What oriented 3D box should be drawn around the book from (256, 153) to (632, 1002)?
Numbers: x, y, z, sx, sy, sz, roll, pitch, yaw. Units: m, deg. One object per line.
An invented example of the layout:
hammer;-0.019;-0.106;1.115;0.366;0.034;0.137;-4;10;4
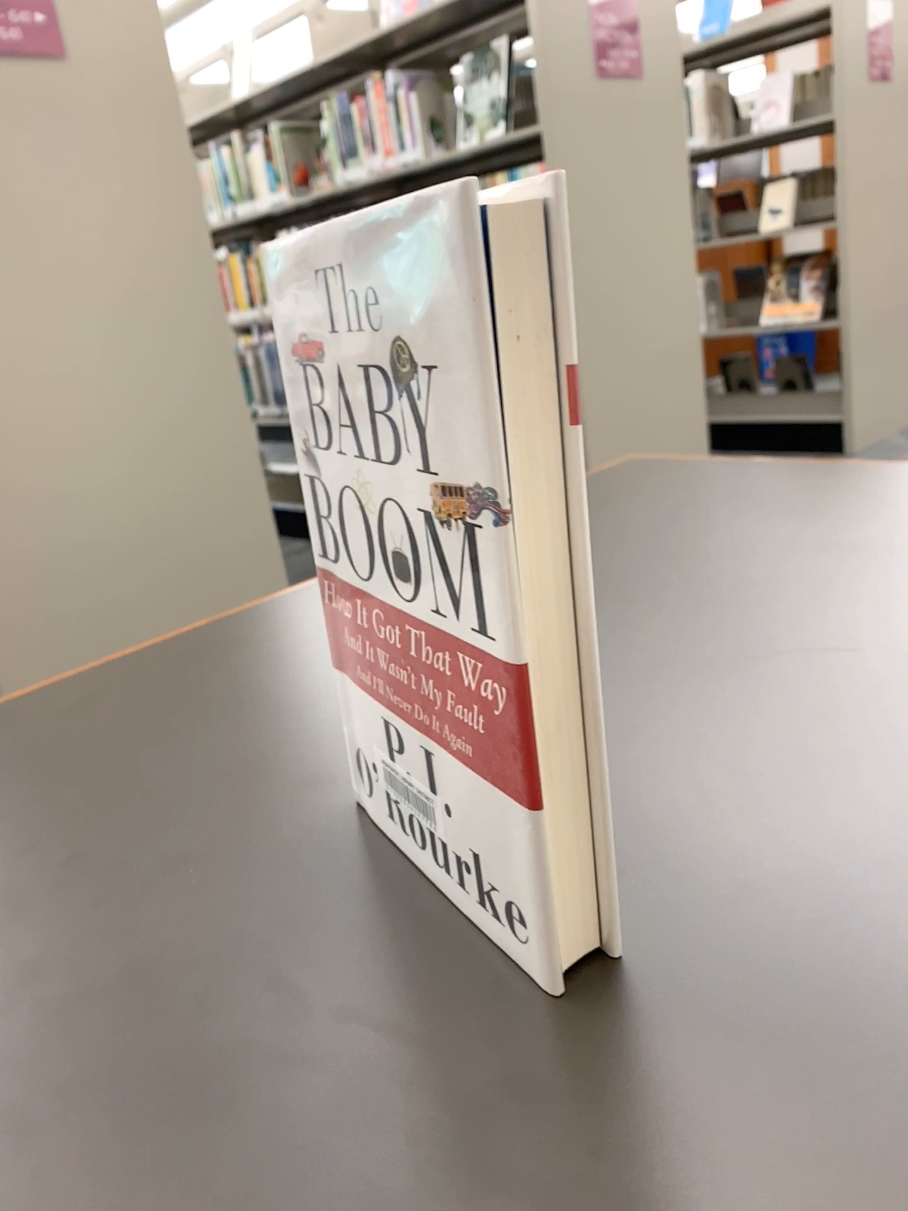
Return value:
book;-0.009;-0.012;0.322;0.030;0.231;0.161;-15;19;-26
